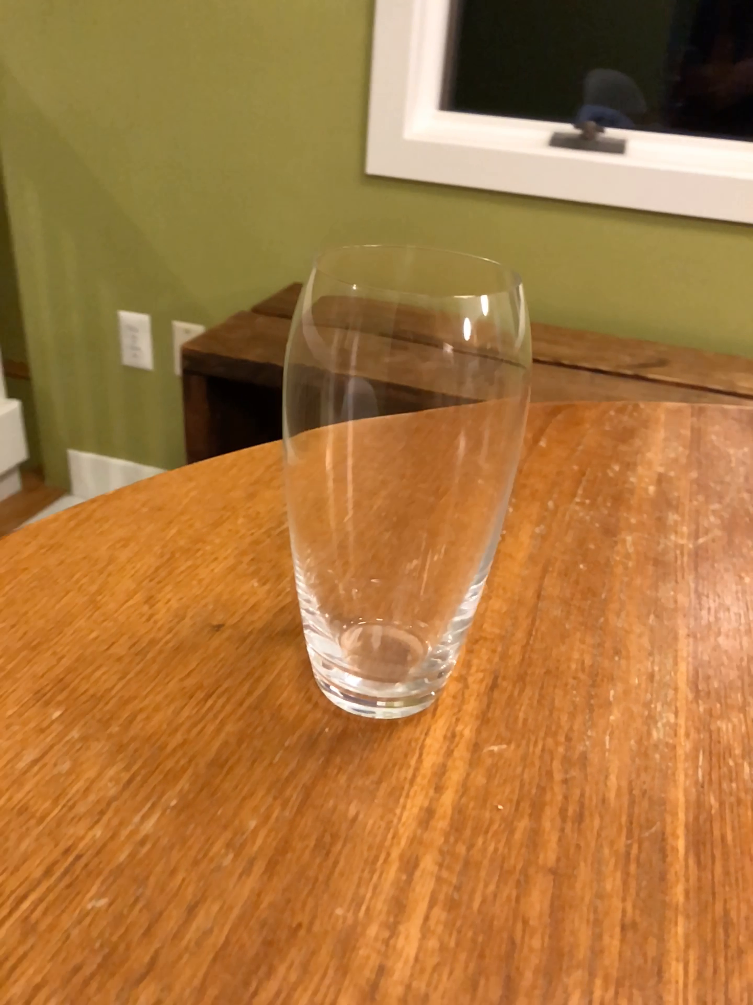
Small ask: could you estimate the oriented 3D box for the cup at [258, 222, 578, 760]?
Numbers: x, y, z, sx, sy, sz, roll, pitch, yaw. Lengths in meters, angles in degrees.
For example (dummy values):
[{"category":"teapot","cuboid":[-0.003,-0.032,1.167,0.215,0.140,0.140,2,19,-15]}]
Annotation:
[{"category":"cup","cuboid":[0.013,-0.006,0.293,0.081,0.156,0.081,3,28,-2]}]
